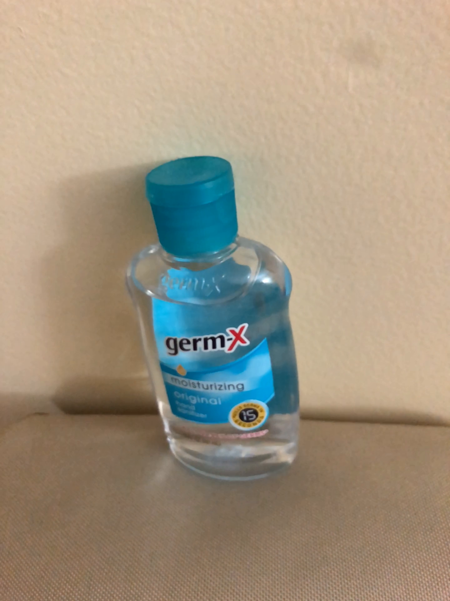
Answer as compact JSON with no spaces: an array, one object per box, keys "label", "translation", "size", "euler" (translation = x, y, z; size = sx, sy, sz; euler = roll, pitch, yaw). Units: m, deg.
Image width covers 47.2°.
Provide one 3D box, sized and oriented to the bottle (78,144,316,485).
[{"label":"bottle","translation":[-0.002,0.009,0.168],"size":[0.060,0.110,0.030],"euler":[1,32,9]}]
